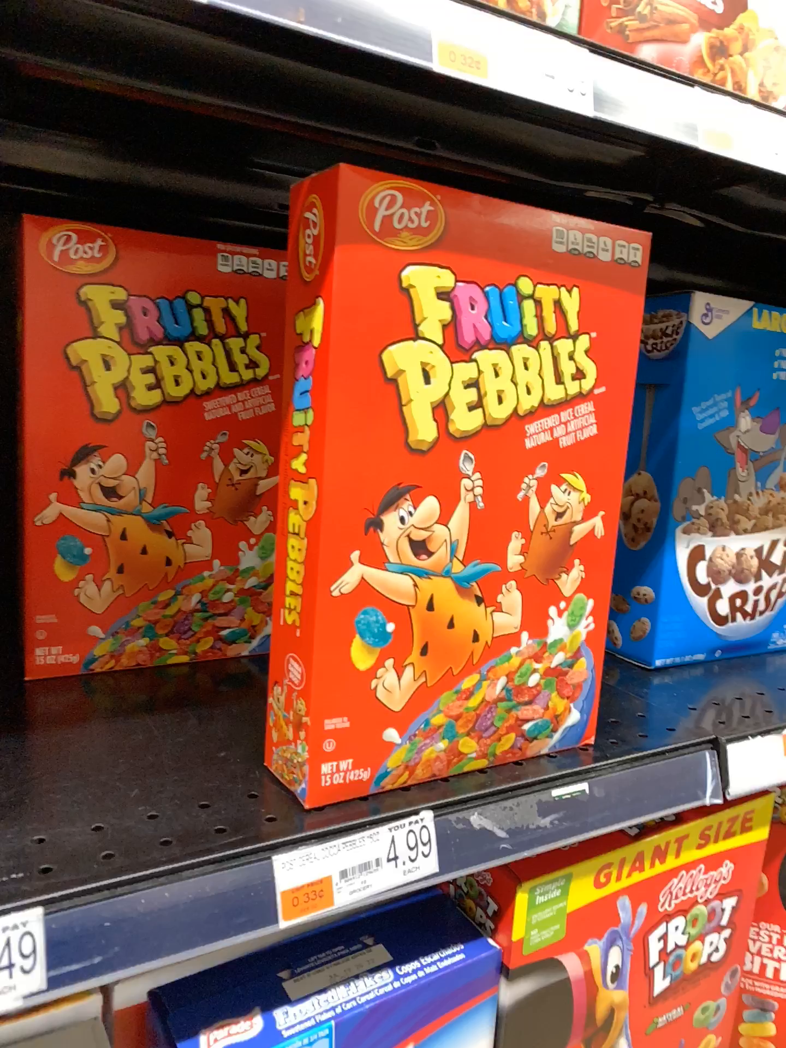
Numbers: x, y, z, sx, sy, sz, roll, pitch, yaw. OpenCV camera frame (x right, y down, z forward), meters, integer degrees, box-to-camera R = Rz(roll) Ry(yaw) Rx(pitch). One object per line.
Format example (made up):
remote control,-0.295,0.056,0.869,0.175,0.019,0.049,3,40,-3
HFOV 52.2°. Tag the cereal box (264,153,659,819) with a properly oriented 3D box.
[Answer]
cereal box,0.038,-0.016,0.446,0.200,0.309,0.060,-2,10,-30
